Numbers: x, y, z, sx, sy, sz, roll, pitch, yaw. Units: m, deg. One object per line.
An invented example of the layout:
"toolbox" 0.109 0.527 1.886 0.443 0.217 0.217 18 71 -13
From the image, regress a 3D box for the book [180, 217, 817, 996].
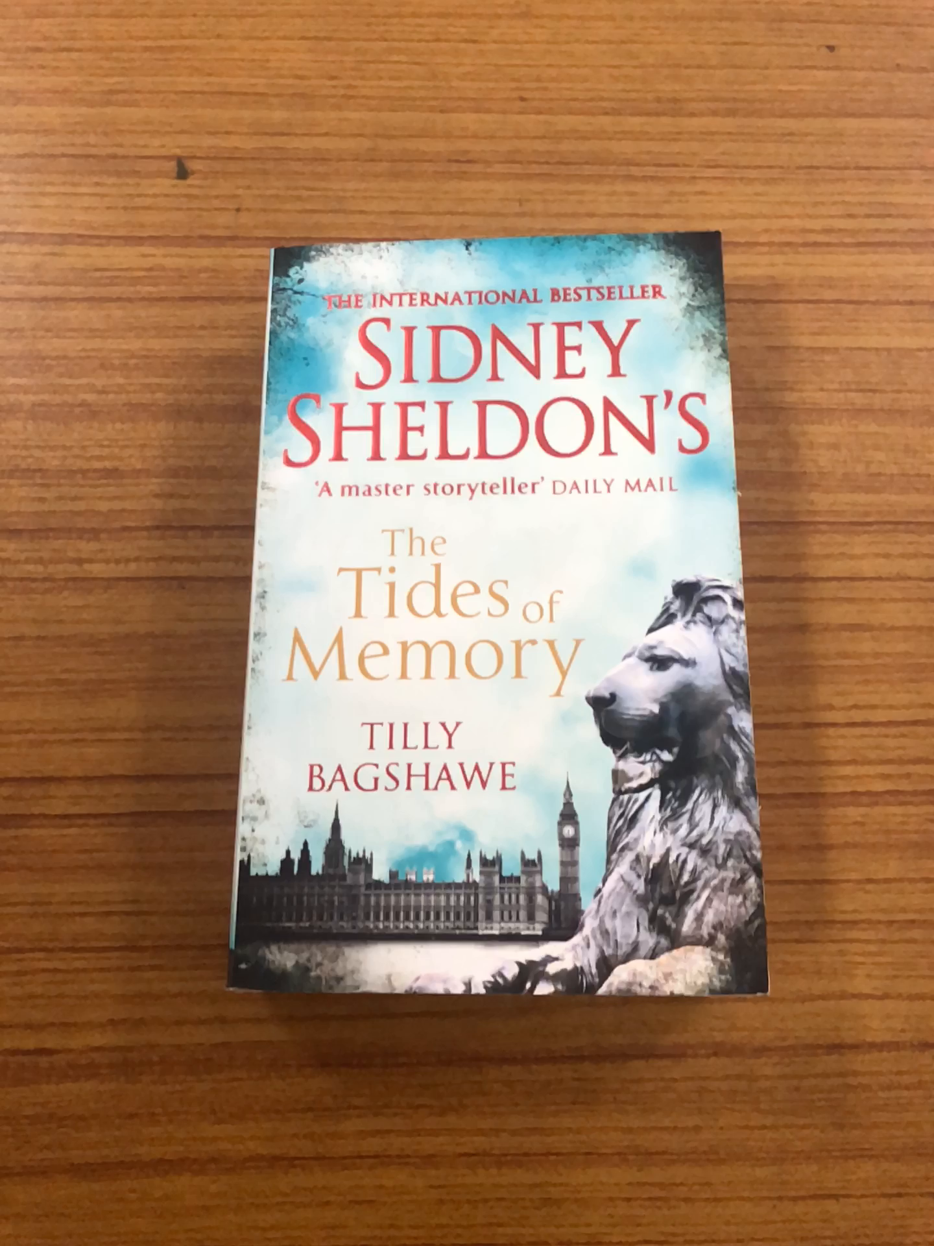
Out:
"book" 0.006 -0.006 0.239 0.122 0.038 0.168 -1 75 3
